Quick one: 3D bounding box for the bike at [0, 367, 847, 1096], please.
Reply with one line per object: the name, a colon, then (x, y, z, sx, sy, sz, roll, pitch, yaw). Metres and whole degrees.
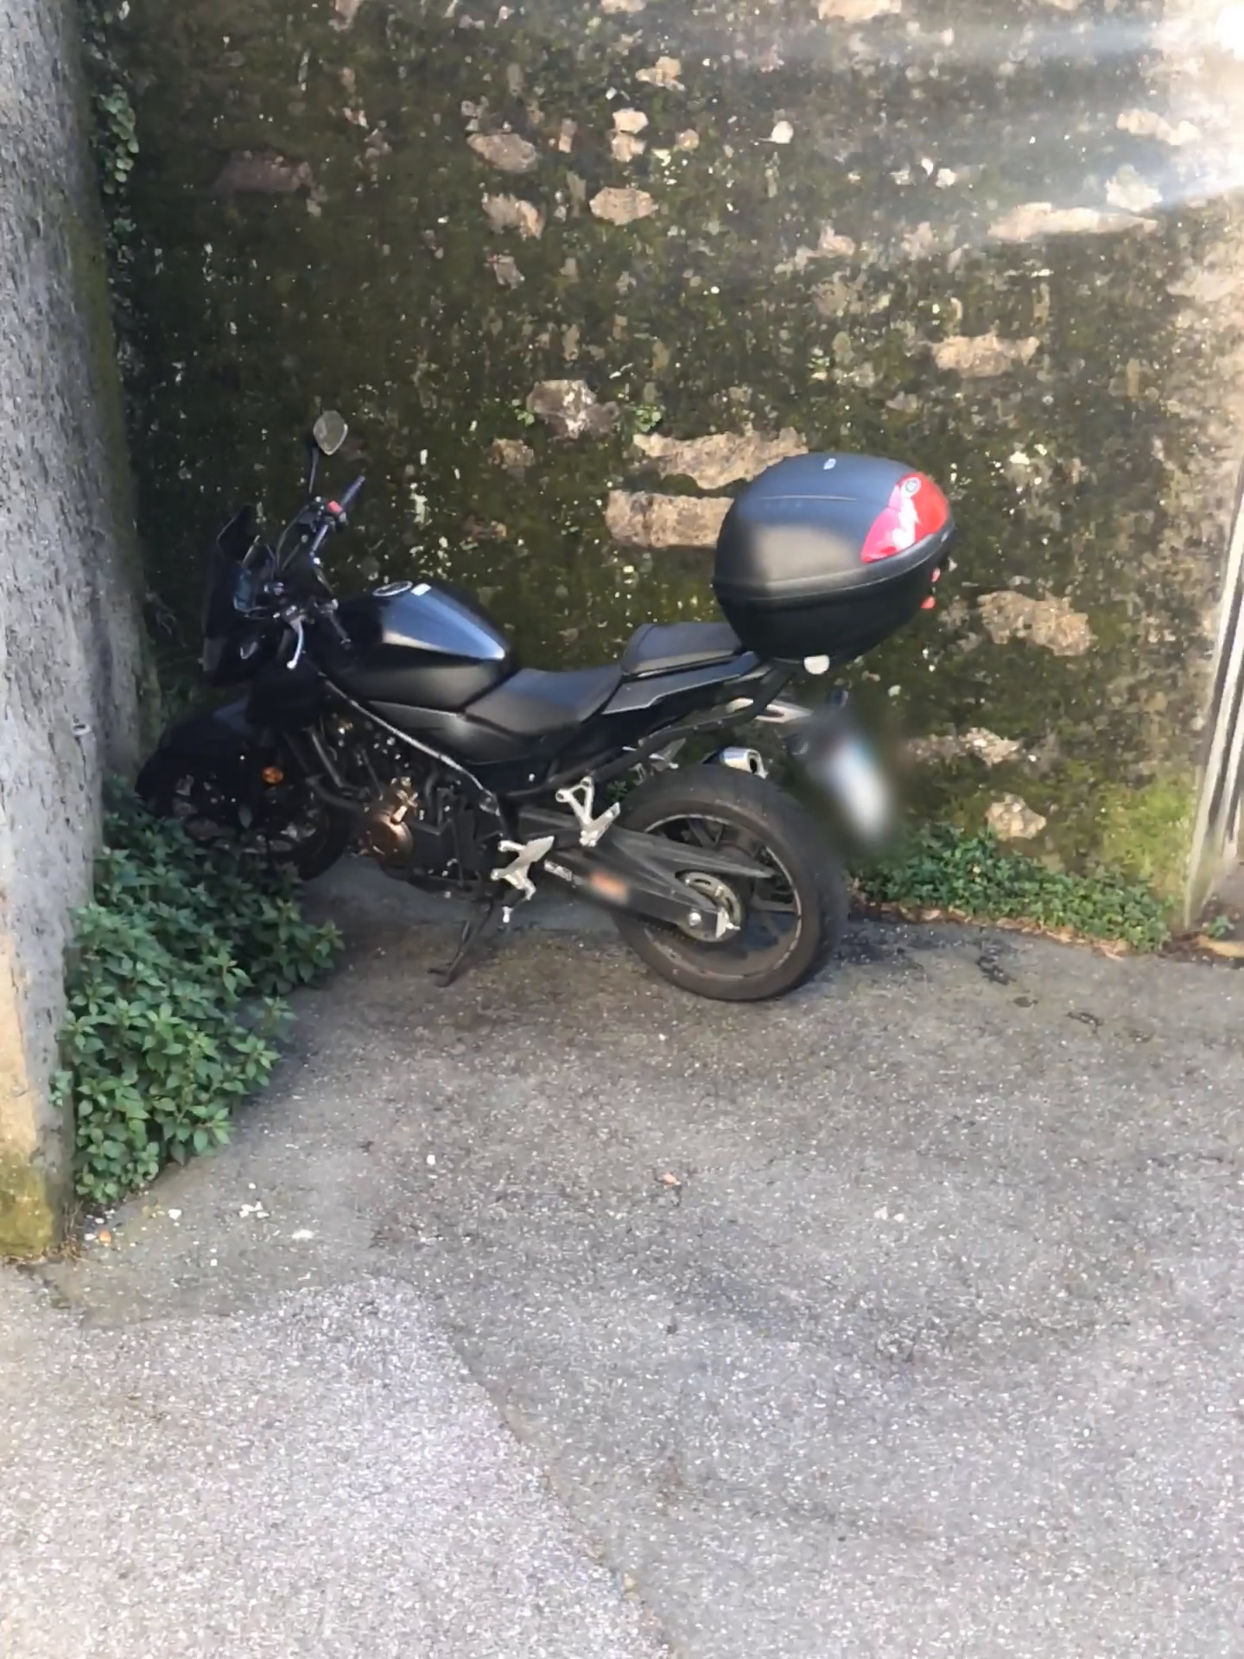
bike: (-0.471, -0.299, 3.123, 1.783, 1.199, 0.713, 9, 17, 13)
